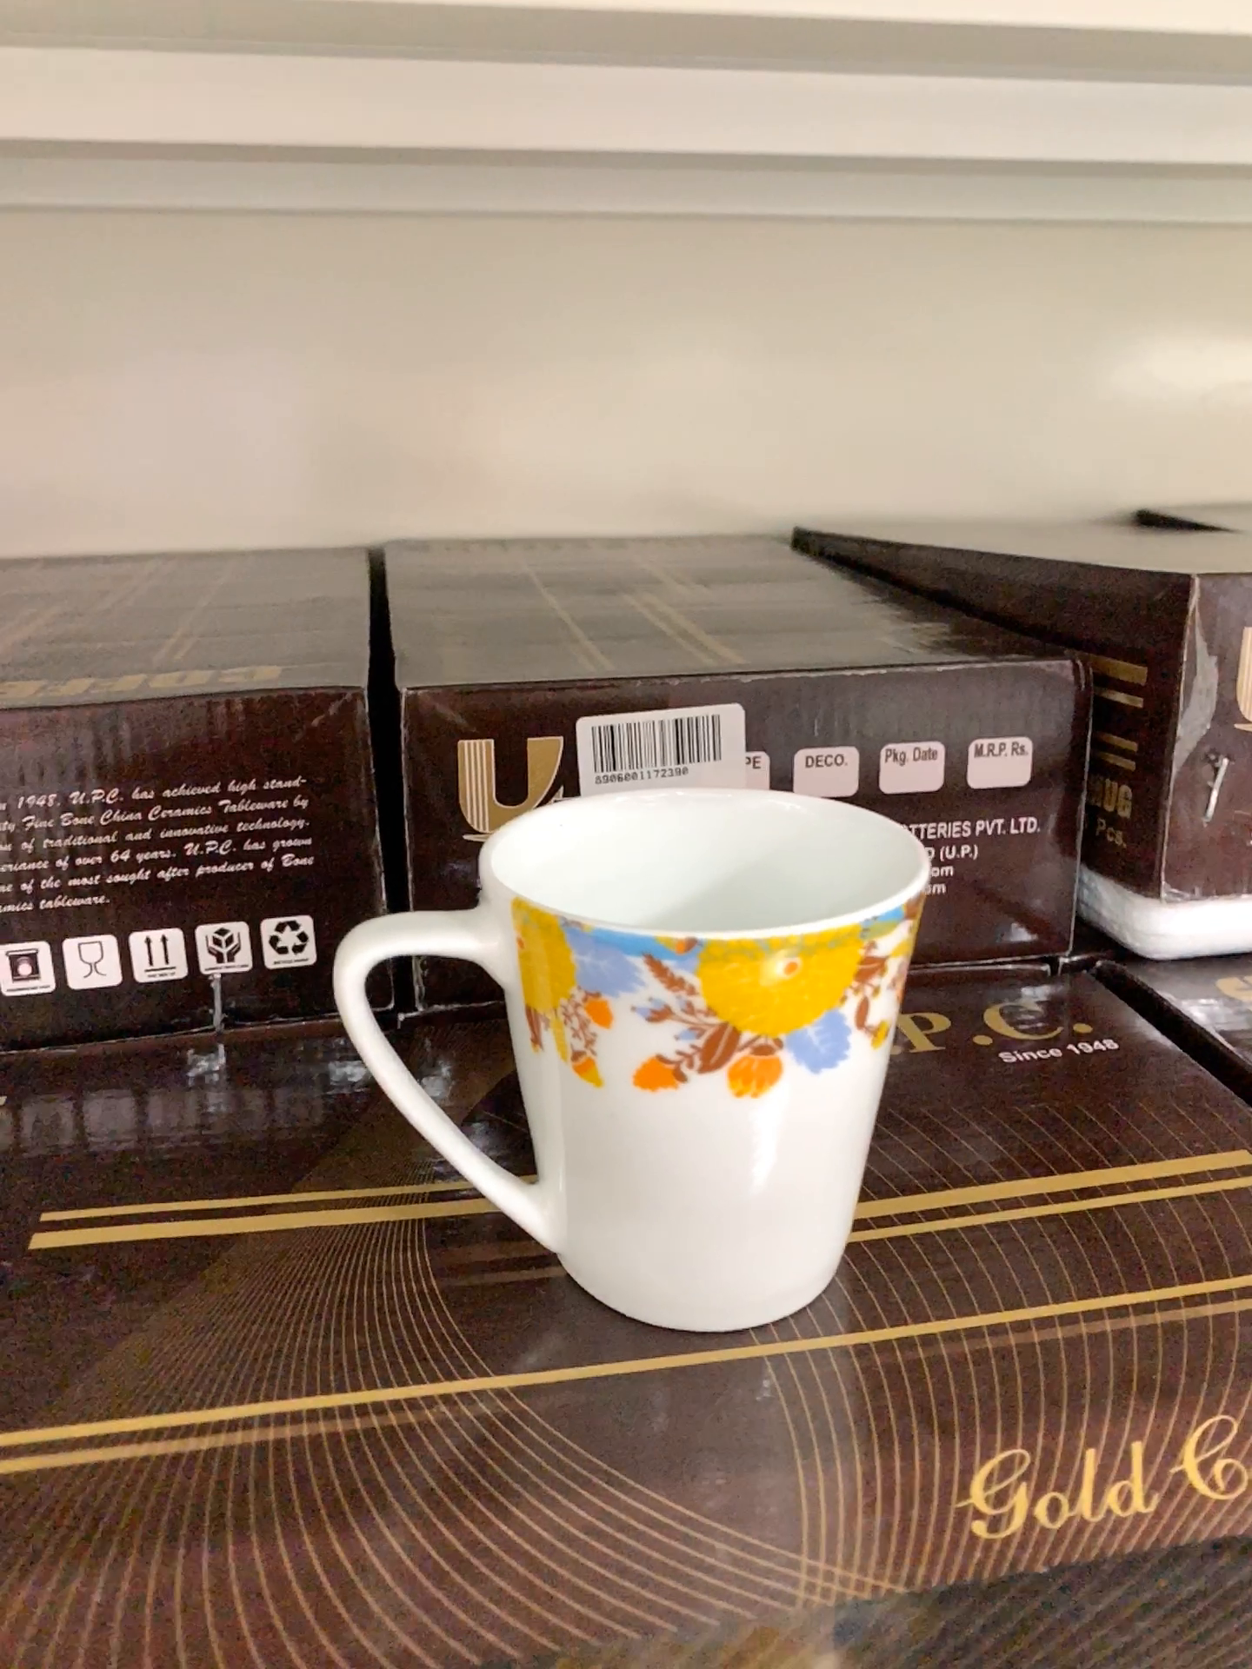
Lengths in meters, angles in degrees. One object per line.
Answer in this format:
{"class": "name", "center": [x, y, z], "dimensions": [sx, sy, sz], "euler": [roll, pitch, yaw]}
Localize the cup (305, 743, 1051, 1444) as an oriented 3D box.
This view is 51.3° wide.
{"class": "cup", "center": [0.002, 0.031, 0.197], "dimensions": [0.090, 0.070, 0.070], "euler": [-4, 18, -9]}
